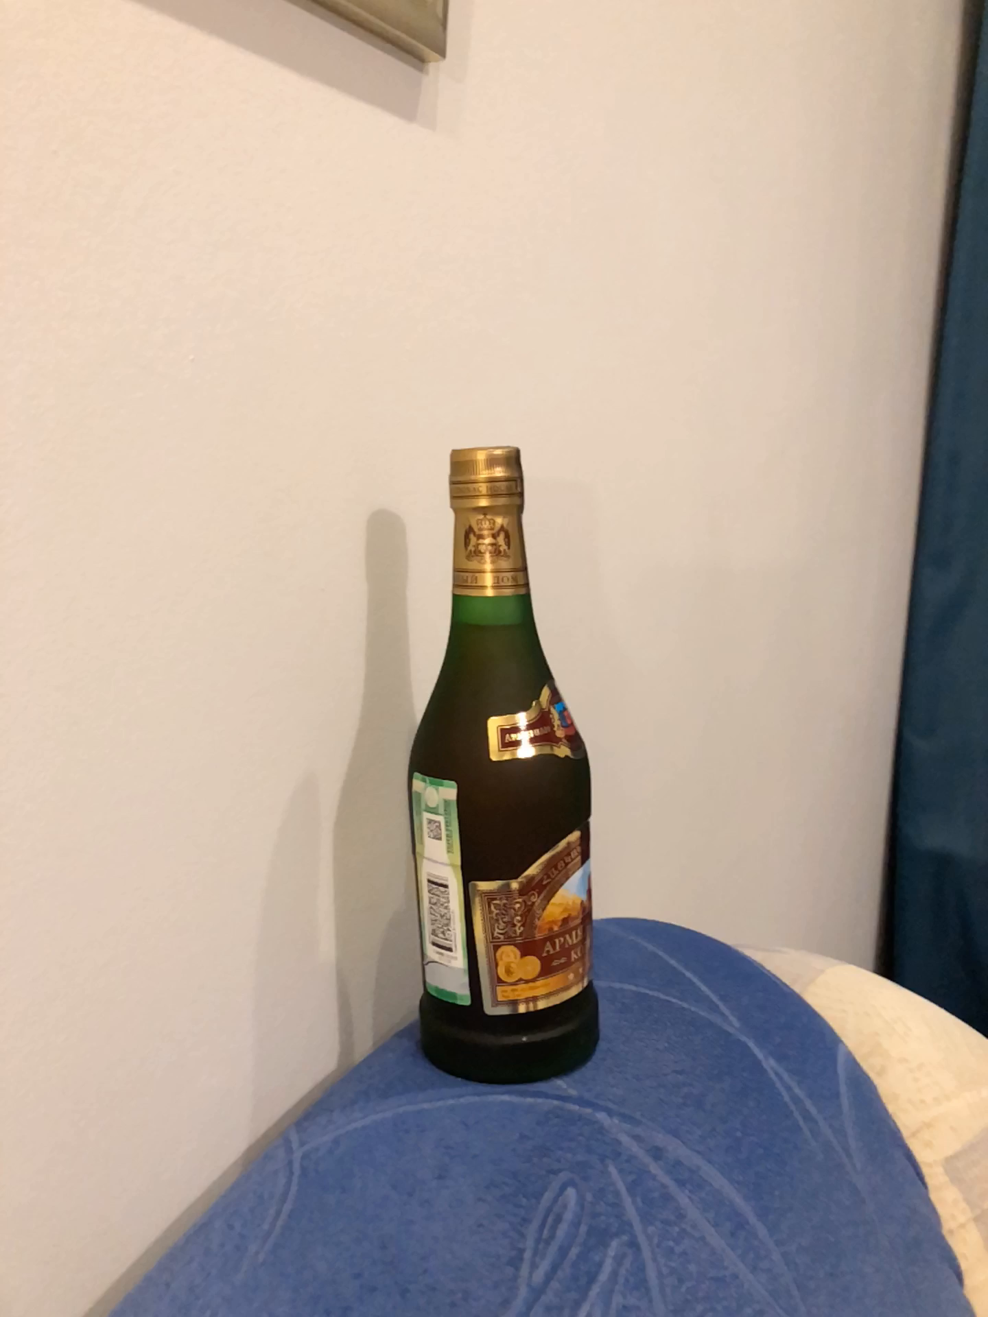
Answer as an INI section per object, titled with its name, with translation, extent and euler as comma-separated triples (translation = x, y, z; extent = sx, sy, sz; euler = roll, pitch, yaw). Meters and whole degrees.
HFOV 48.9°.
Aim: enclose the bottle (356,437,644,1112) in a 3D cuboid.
[bottle]
translation = 0.009, 0.037, 0.435
extent = 0.080, 0.243, 0.090
euler = 3, 11, 23
